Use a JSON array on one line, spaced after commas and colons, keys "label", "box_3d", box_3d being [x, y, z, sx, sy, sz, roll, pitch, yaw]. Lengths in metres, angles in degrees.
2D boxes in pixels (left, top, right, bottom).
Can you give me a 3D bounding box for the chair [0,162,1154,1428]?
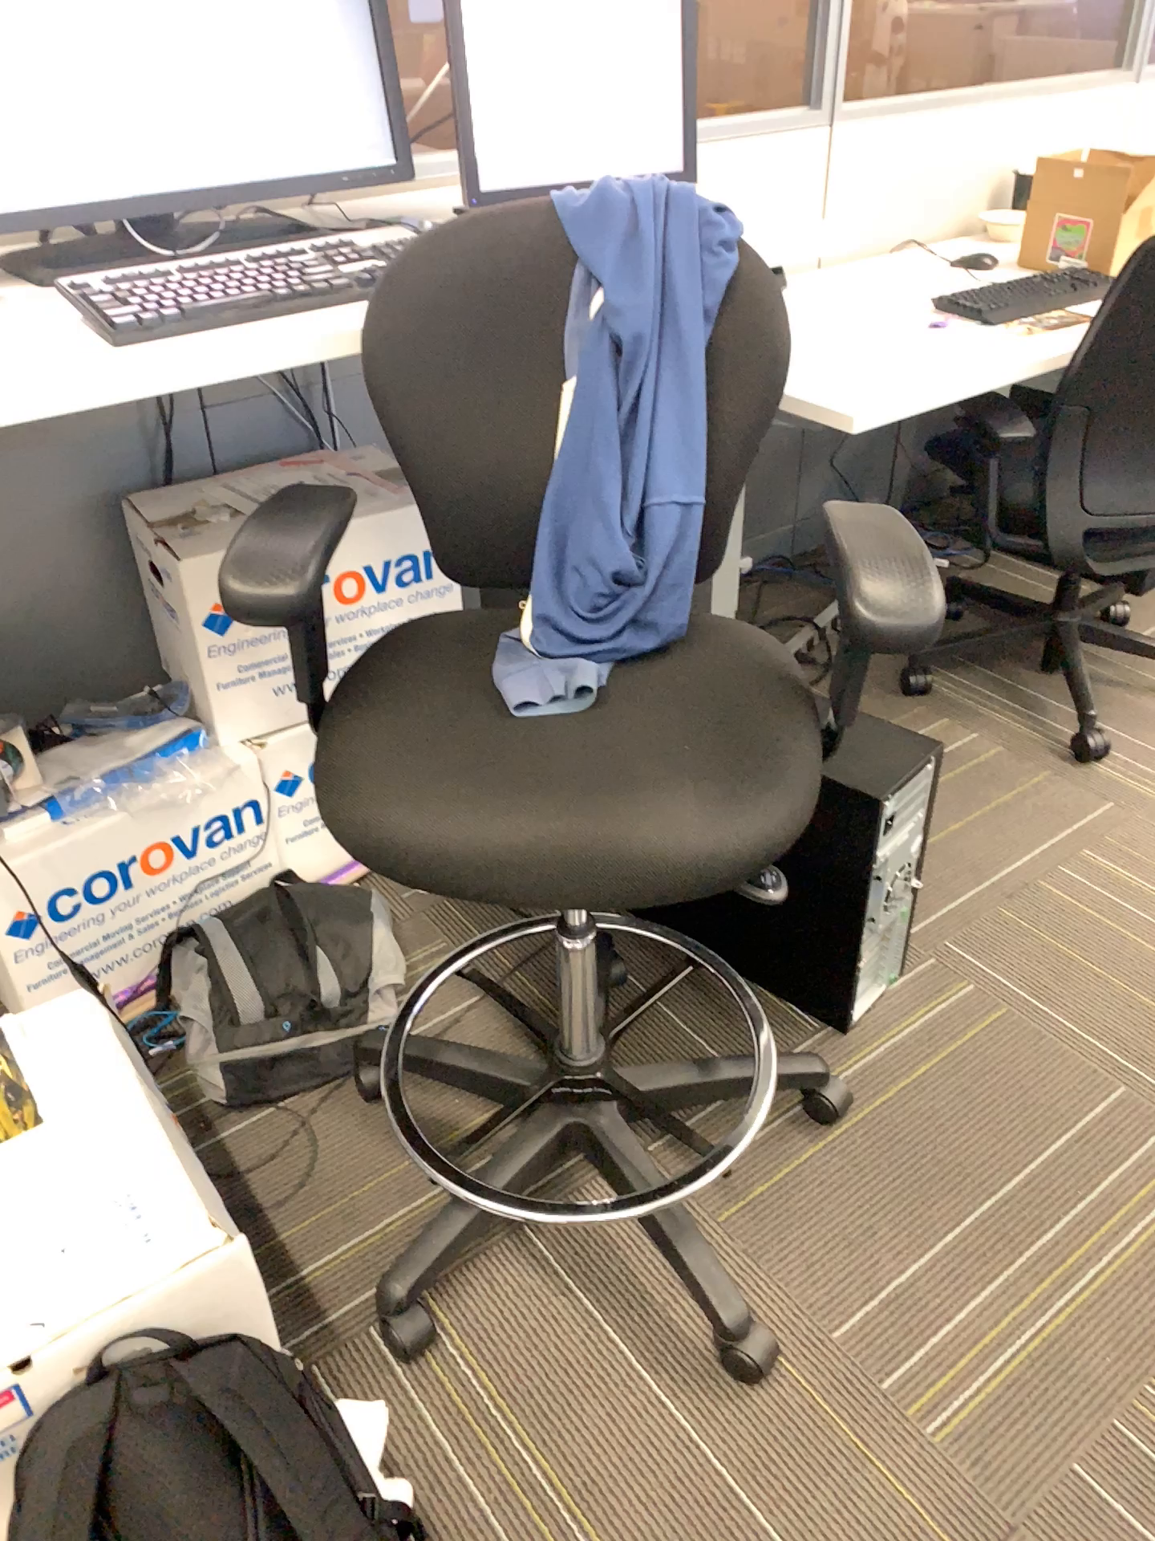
[{"label": "chair", "box_3d": [0.005, 0.022, 1.271, 0.750, 1.103, 0.745, -3, 35, -2]}]
